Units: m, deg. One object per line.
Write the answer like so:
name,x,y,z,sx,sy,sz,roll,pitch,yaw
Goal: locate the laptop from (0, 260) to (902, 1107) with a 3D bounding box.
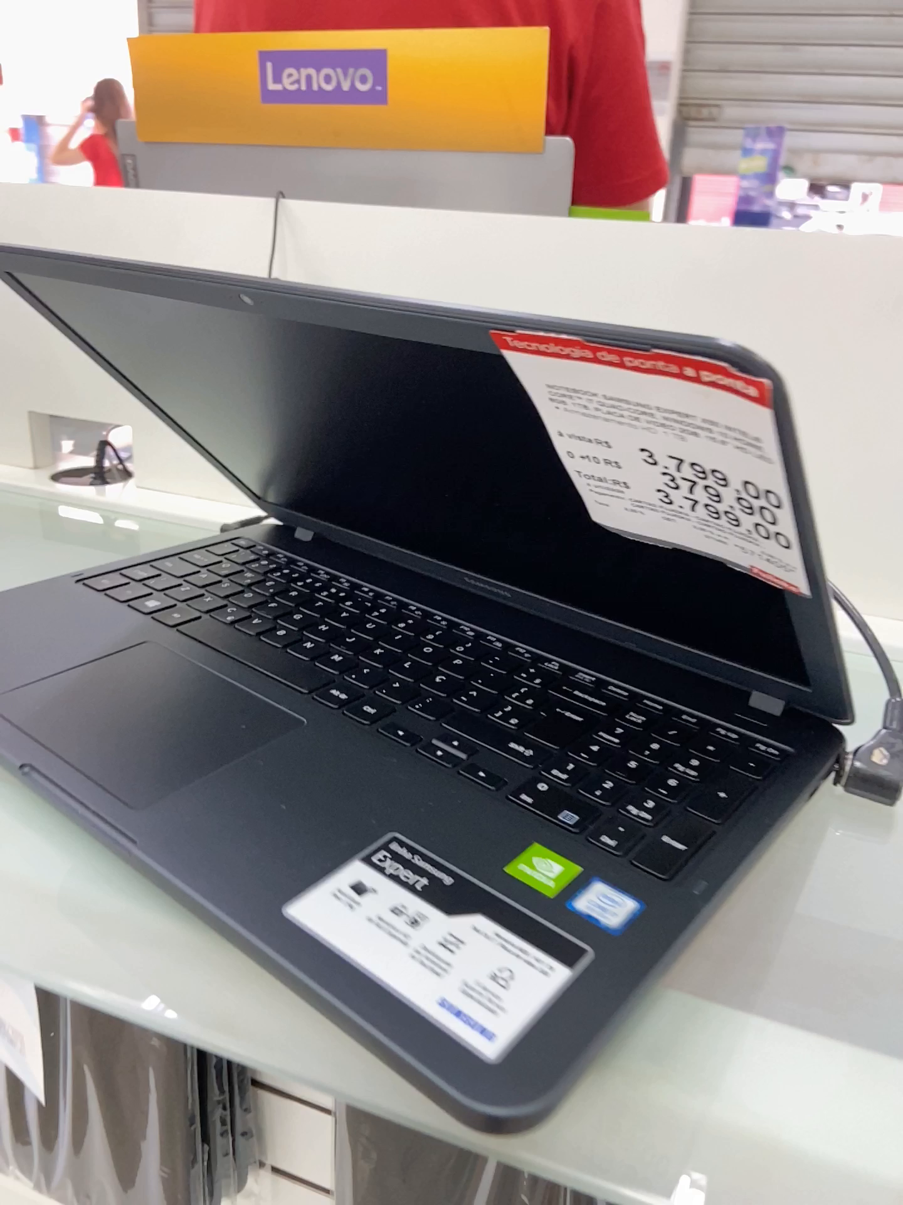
laptop,-0.050,-0.038,0.371,0.357,0.158,0.232,20,28,35
